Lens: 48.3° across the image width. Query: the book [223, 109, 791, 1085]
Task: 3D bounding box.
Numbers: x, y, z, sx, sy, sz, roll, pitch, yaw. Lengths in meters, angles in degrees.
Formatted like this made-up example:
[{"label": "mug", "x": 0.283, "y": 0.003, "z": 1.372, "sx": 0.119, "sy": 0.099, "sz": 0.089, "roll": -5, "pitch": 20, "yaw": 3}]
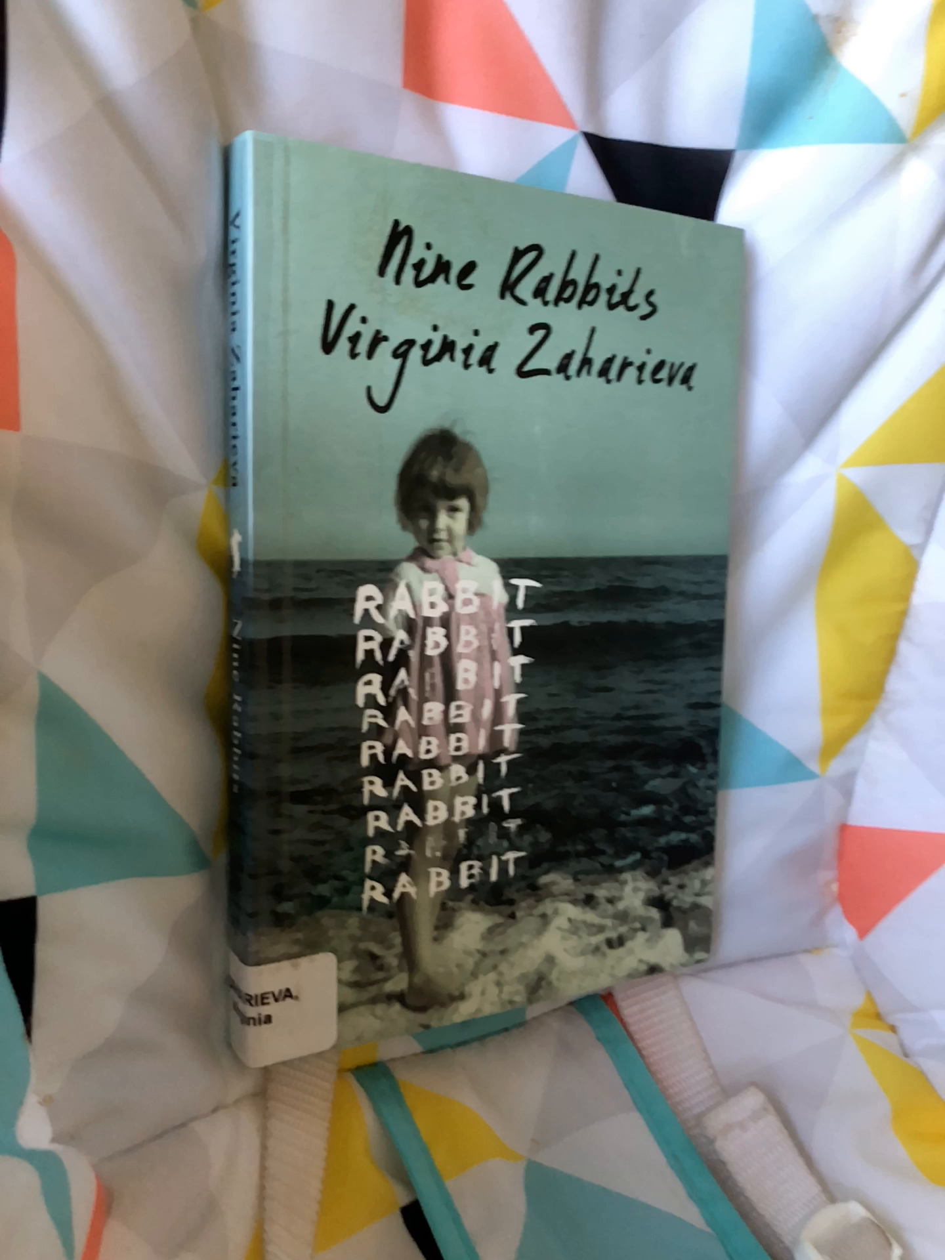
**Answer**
[{"label": "book", "x": 0.014, "y": -0.006, "z": 0.264, "sx": 0.146, "sy": 0.025, "sz": 0.200, "roll": -3, "pitch": 98, "yaw": -31}]
